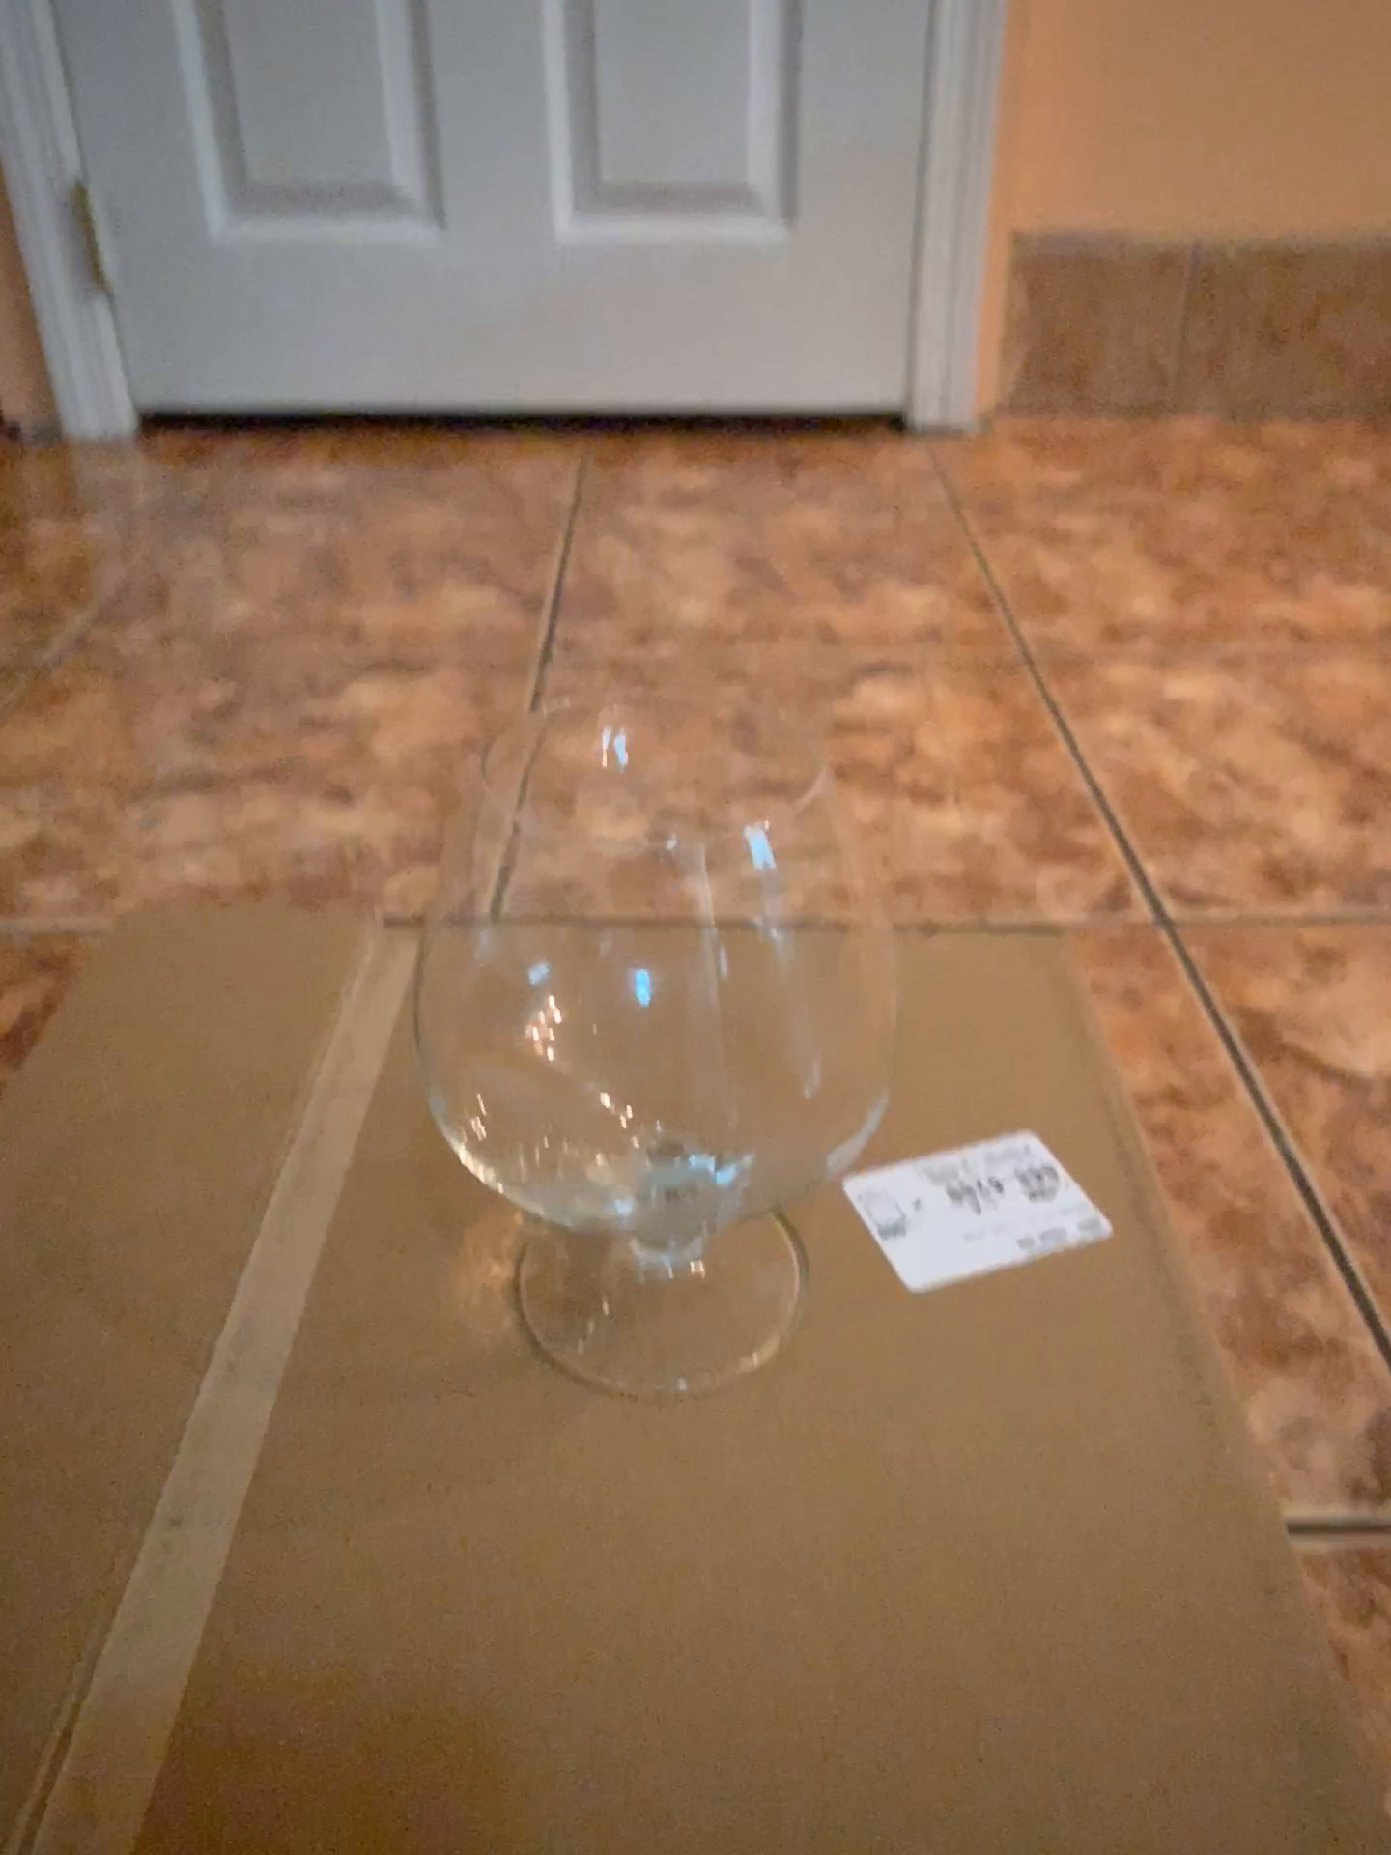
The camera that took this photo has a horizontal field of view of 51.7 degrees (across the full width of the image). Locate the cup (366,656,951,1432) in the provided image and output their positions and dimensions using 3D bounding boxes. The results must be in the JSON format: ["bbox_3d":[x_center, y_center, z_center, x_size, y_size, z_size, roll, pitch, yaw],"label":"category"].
[{"bbox_3d":[-0.008,0.028,0.336,0.105,0.158,0.085,-2,32,-2],"label":"cup"}]
